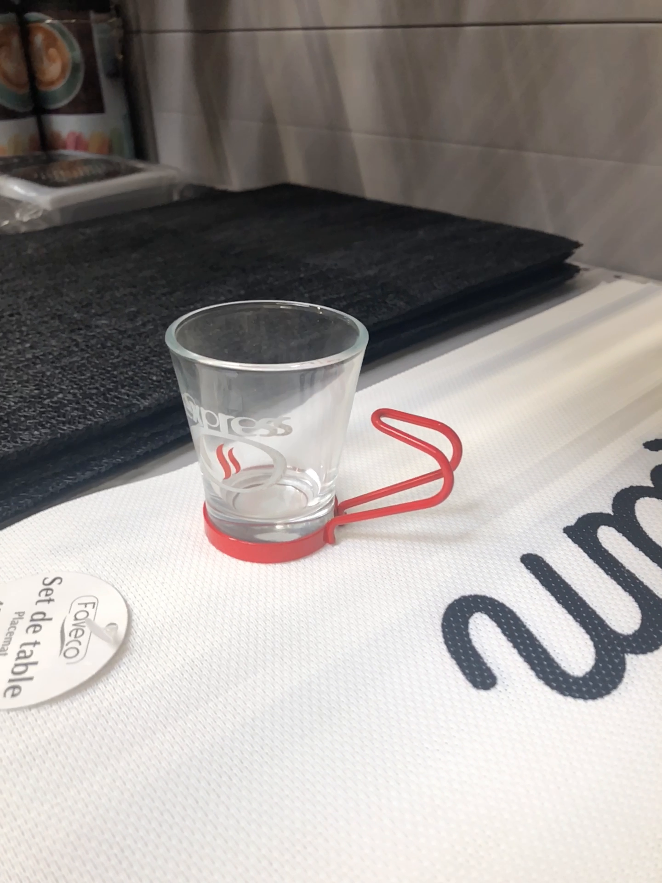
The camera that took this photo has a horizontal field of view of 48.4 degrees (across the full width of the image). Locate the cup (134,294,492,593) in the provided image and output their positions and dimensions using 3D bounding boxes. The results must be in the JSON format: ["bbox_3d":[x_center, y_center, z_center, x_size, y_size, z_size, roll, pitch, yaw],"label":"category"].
[{"bbox_3d":[-0.002,-0.003,0.225,0.092,0.063,0.056,6,27,10],"label":"cup"}]
